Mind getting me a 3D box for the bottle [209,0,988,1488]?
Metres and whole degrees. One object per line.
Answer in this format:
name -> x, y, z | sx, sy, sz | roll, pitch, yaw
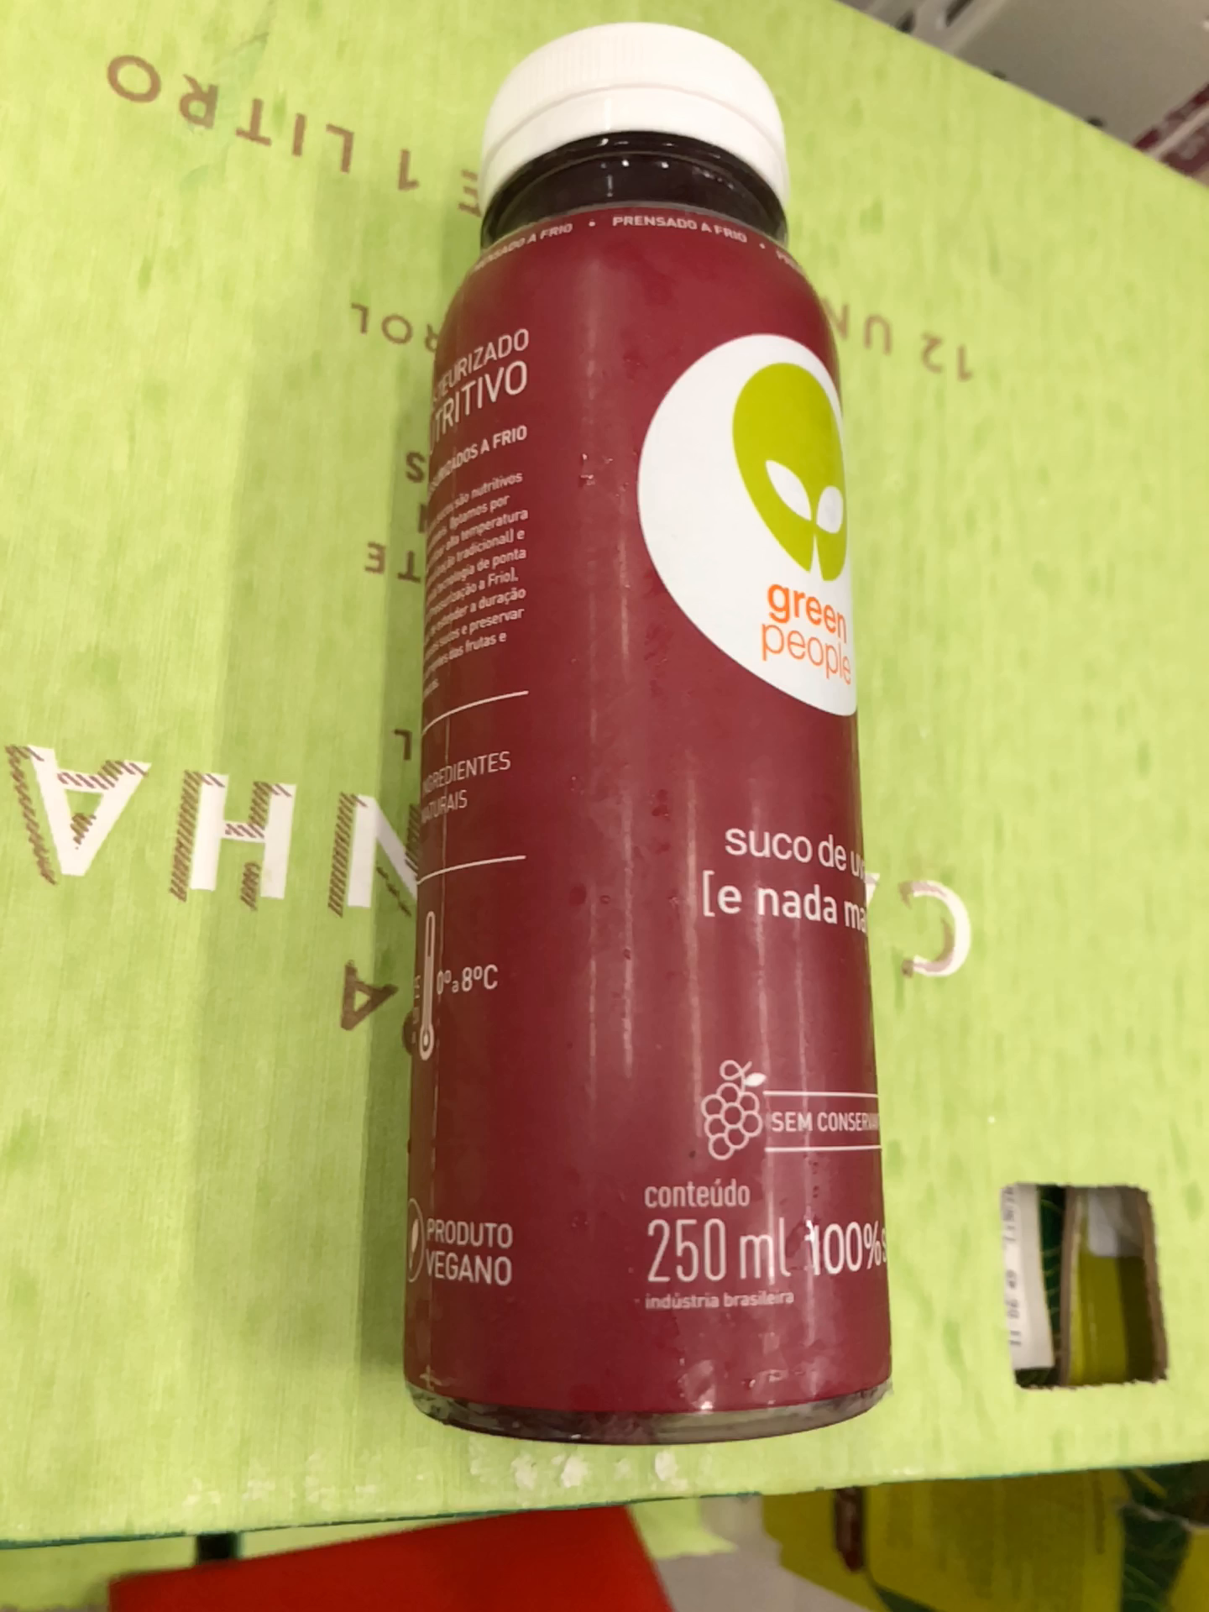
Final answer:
bottle -> 0.001, -0.020, 0.167 | 0.060, 0.060, 0.170 | 15, 71, -47
